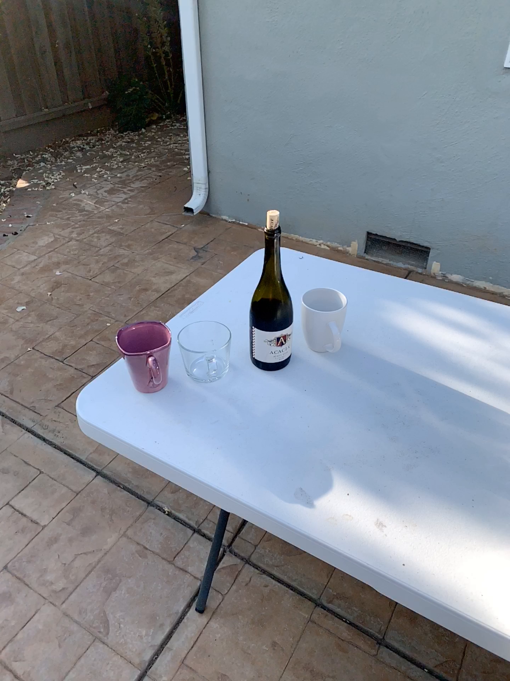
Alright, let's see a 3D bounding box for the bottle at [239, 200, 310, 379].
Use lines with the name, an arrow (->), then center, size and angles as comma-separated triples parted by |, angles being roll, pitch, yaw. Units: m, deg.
bottle -> 0.031, -0.086, 0.954 | 0.080, 0.308, 0.091 | -22, 41, -27
